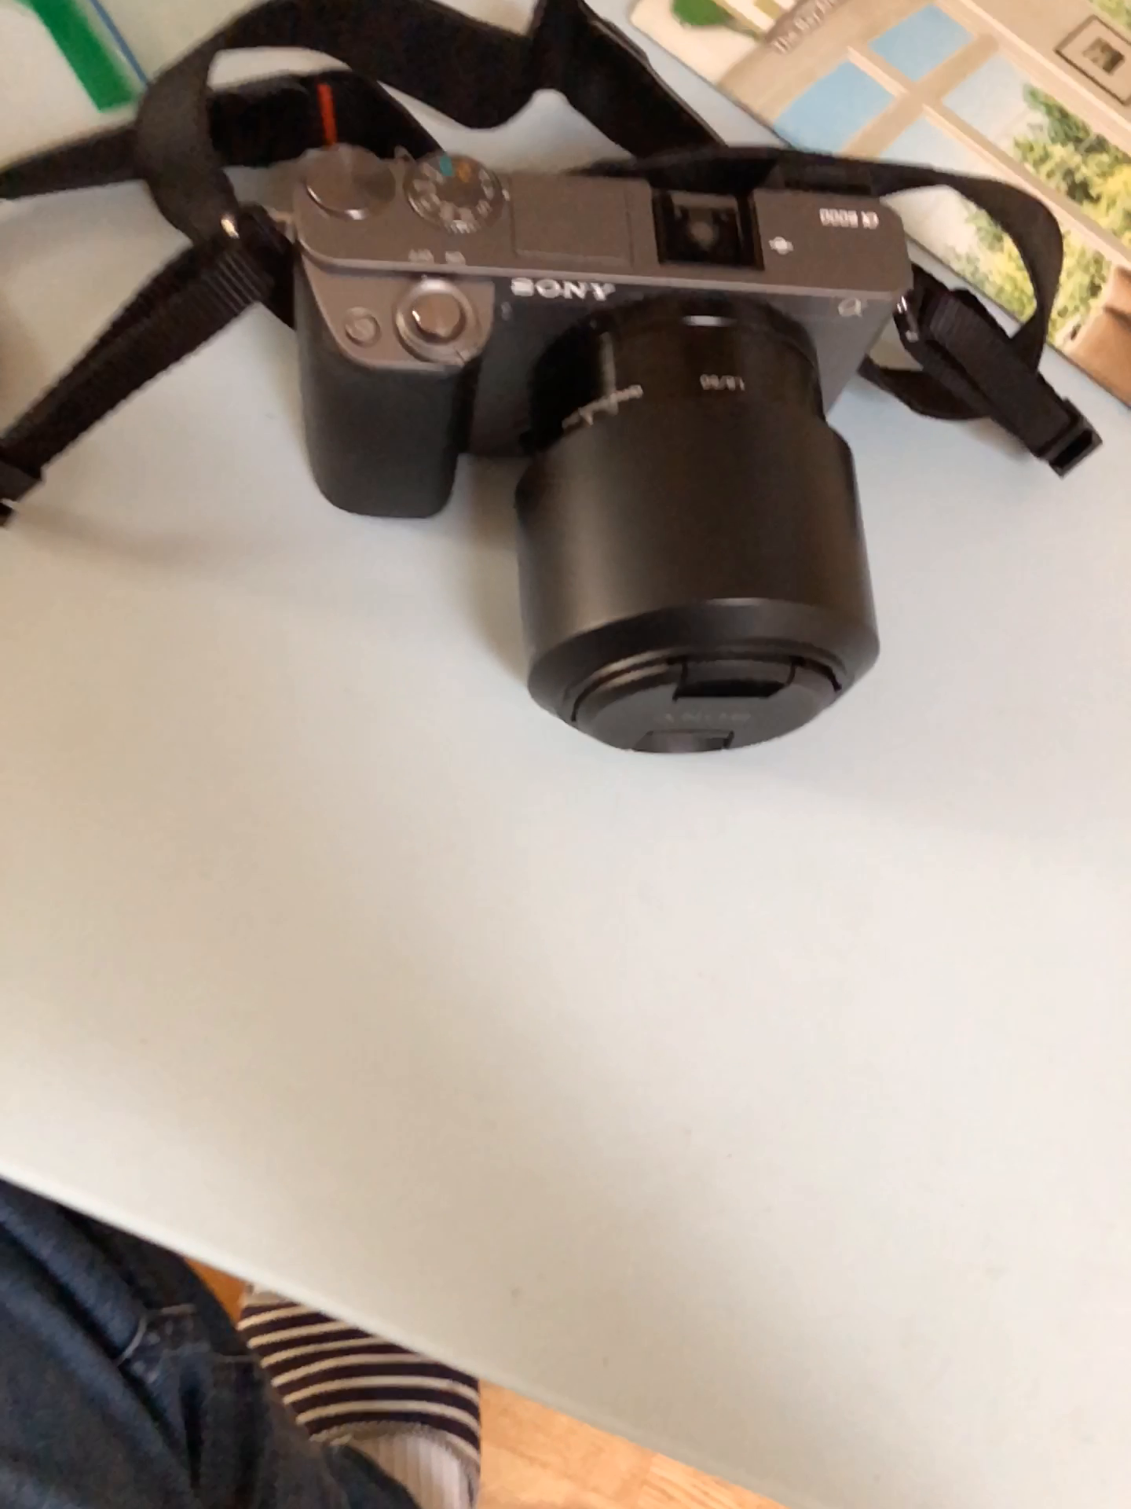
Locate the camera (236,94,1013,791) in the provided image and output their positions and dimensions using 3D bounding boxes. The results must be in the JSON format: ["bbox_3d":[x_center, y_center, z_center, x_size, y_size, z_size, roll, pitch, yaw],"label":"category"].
[{"bbox_3d":[0.005,-0.056,0.255,0.130,0.070,0.110,1,72,-10],"label":"camera"}]
